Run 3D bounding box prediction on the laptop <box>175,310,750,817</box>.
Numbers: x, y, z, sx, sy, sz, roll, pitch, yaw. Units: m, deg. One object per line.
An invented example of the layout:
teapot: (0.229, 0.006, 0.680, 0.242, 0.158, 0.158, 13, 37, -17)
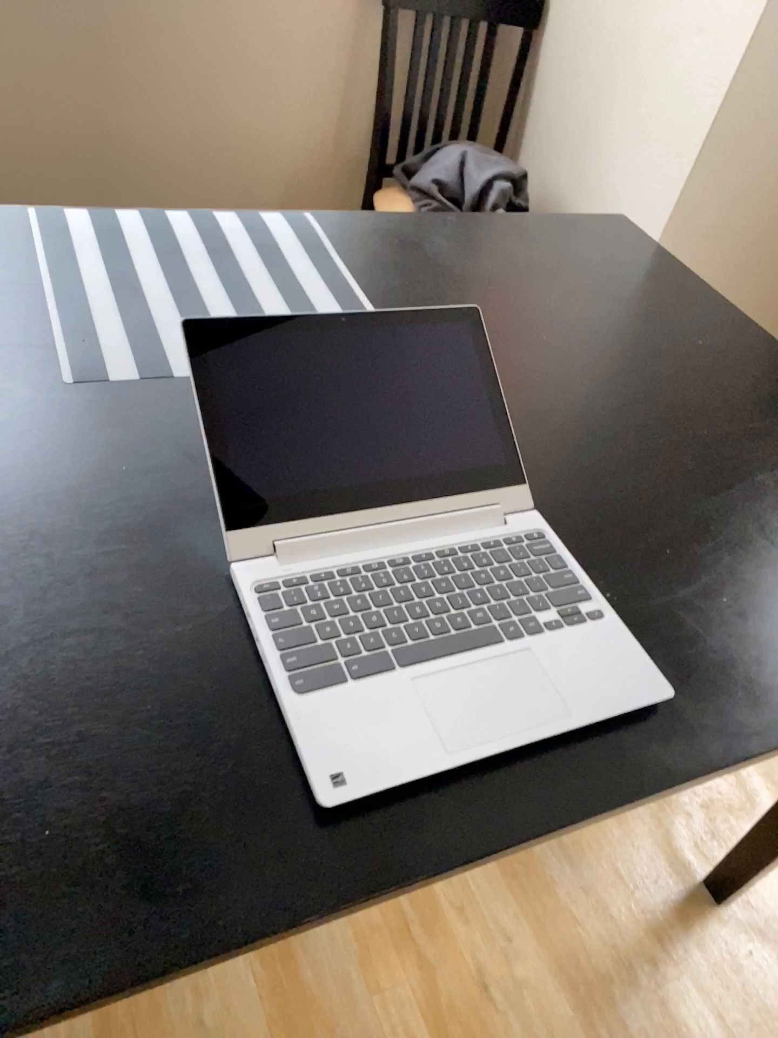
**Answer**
laptop: (0.023, -0.011, 0.611, 0.285, 0.105, 0.382, -9, 47, -25)
